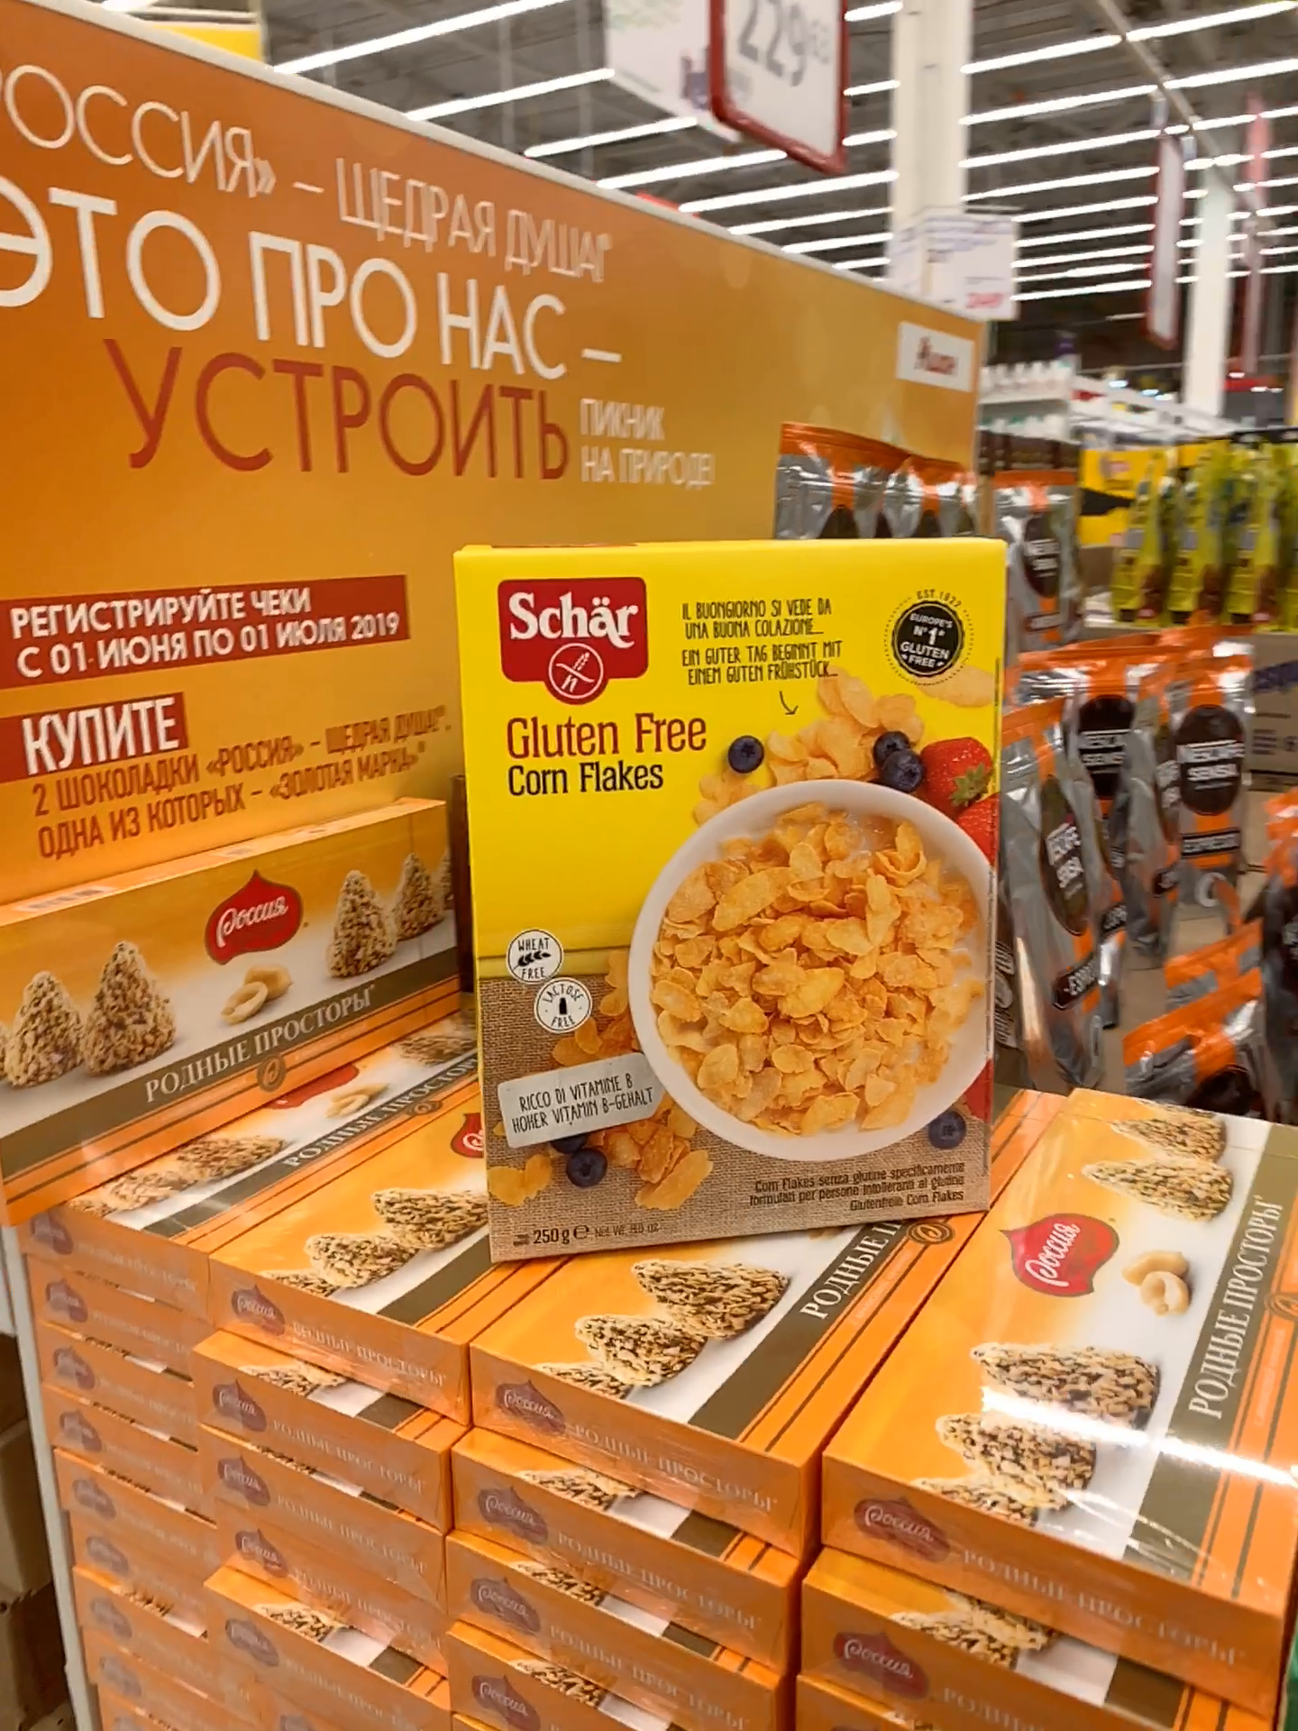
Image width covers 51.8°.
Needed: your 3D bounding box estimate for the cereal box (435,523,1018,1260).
[{"bbox_3d":[0.028,0.006,0.508,0.200,0.259,0.060,-4,14,-9],"label":"cereal box"}]
